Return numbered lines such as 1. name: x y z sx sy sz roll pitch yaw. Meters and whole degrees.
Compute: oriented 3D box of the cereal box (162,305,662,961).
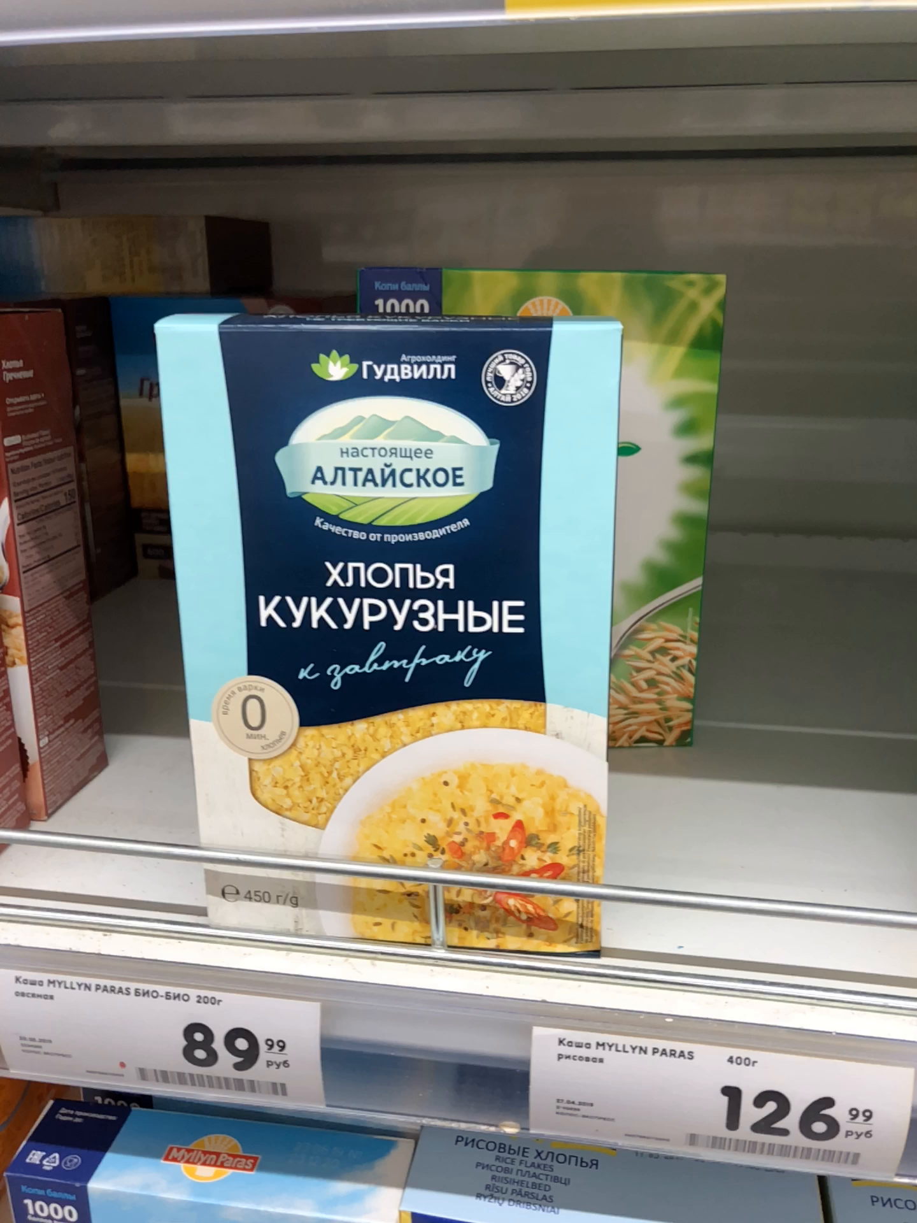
1. cereal box: -0.010 0.004 0.317 0.130 0.189 0.060 2 17 7
